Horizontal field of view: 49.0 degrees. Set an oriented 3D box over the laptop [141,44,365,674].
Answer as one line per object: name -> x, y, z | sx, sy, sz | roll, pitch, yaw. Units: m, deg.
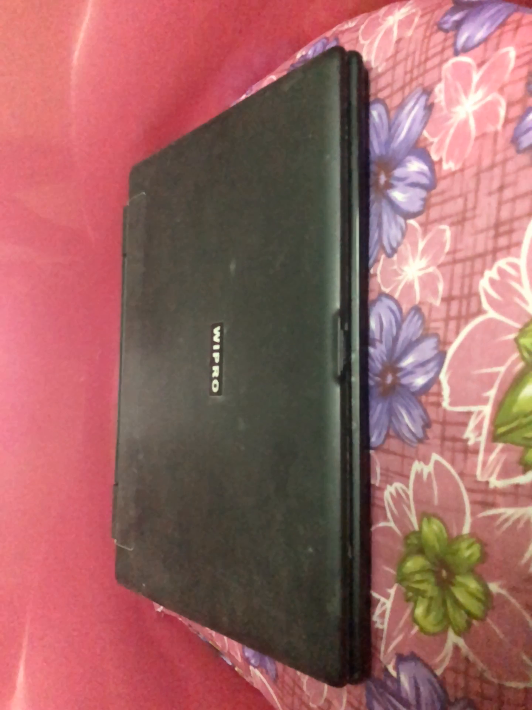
laptop -> -0.022, 0.001, 0.384 | 0.221, 0.006, 0.322 | -5, 83, 50
